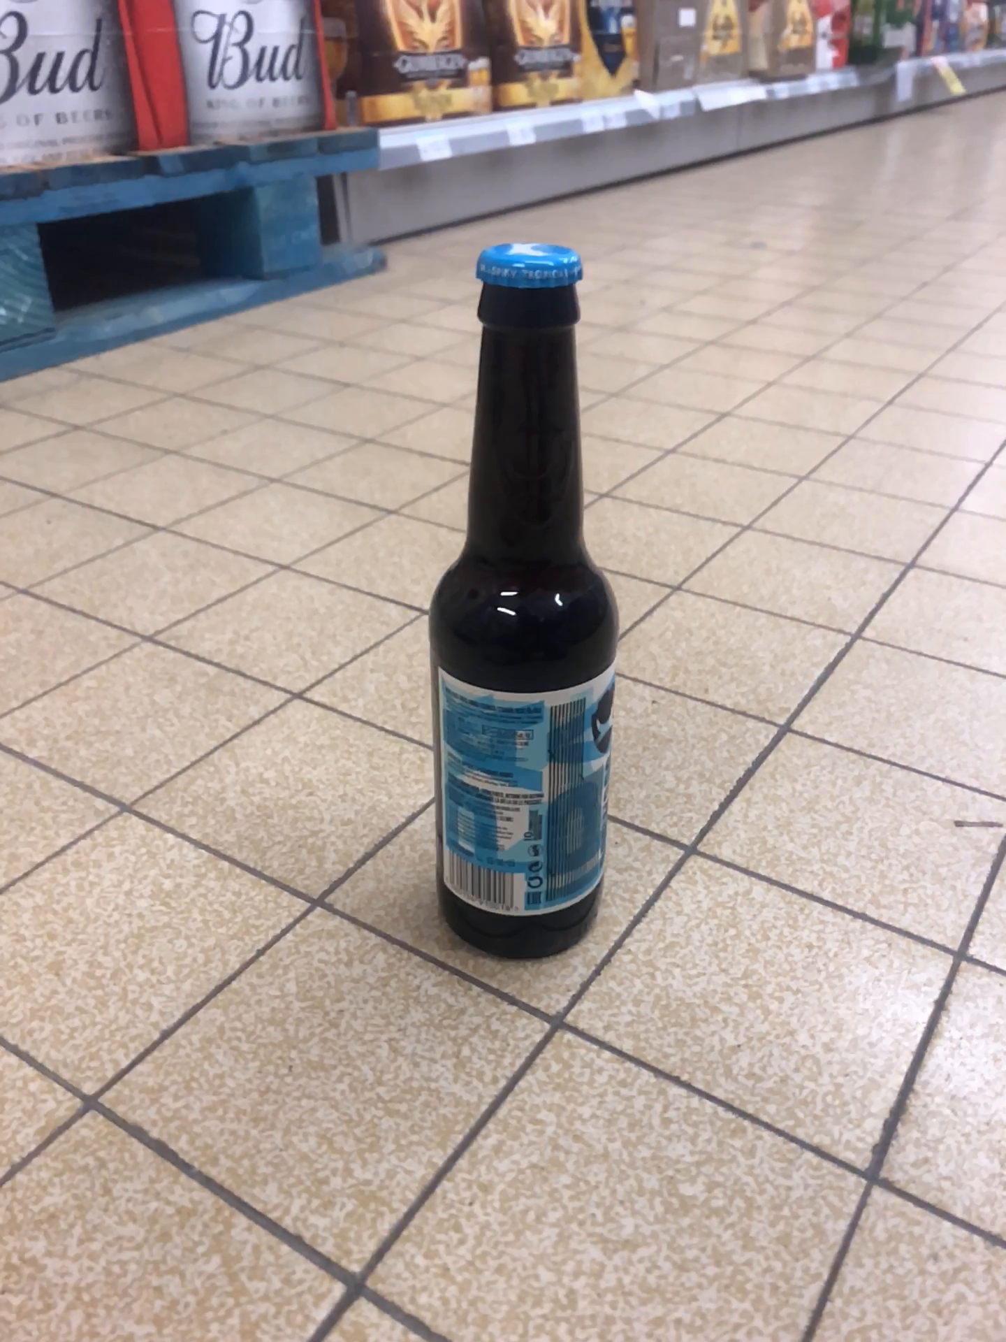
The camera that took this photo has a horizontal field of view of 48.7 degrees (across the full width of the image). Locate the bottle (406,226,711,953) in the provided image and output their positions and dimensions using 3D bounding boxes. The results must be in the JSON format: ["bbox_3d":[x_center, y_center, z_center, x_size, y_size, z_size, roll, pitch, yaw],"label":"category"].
[{"bbox_3d":[0.011,-0.019,0.341,0.070,0.209,0.070,0,30,0],"label":"bottle"}]
